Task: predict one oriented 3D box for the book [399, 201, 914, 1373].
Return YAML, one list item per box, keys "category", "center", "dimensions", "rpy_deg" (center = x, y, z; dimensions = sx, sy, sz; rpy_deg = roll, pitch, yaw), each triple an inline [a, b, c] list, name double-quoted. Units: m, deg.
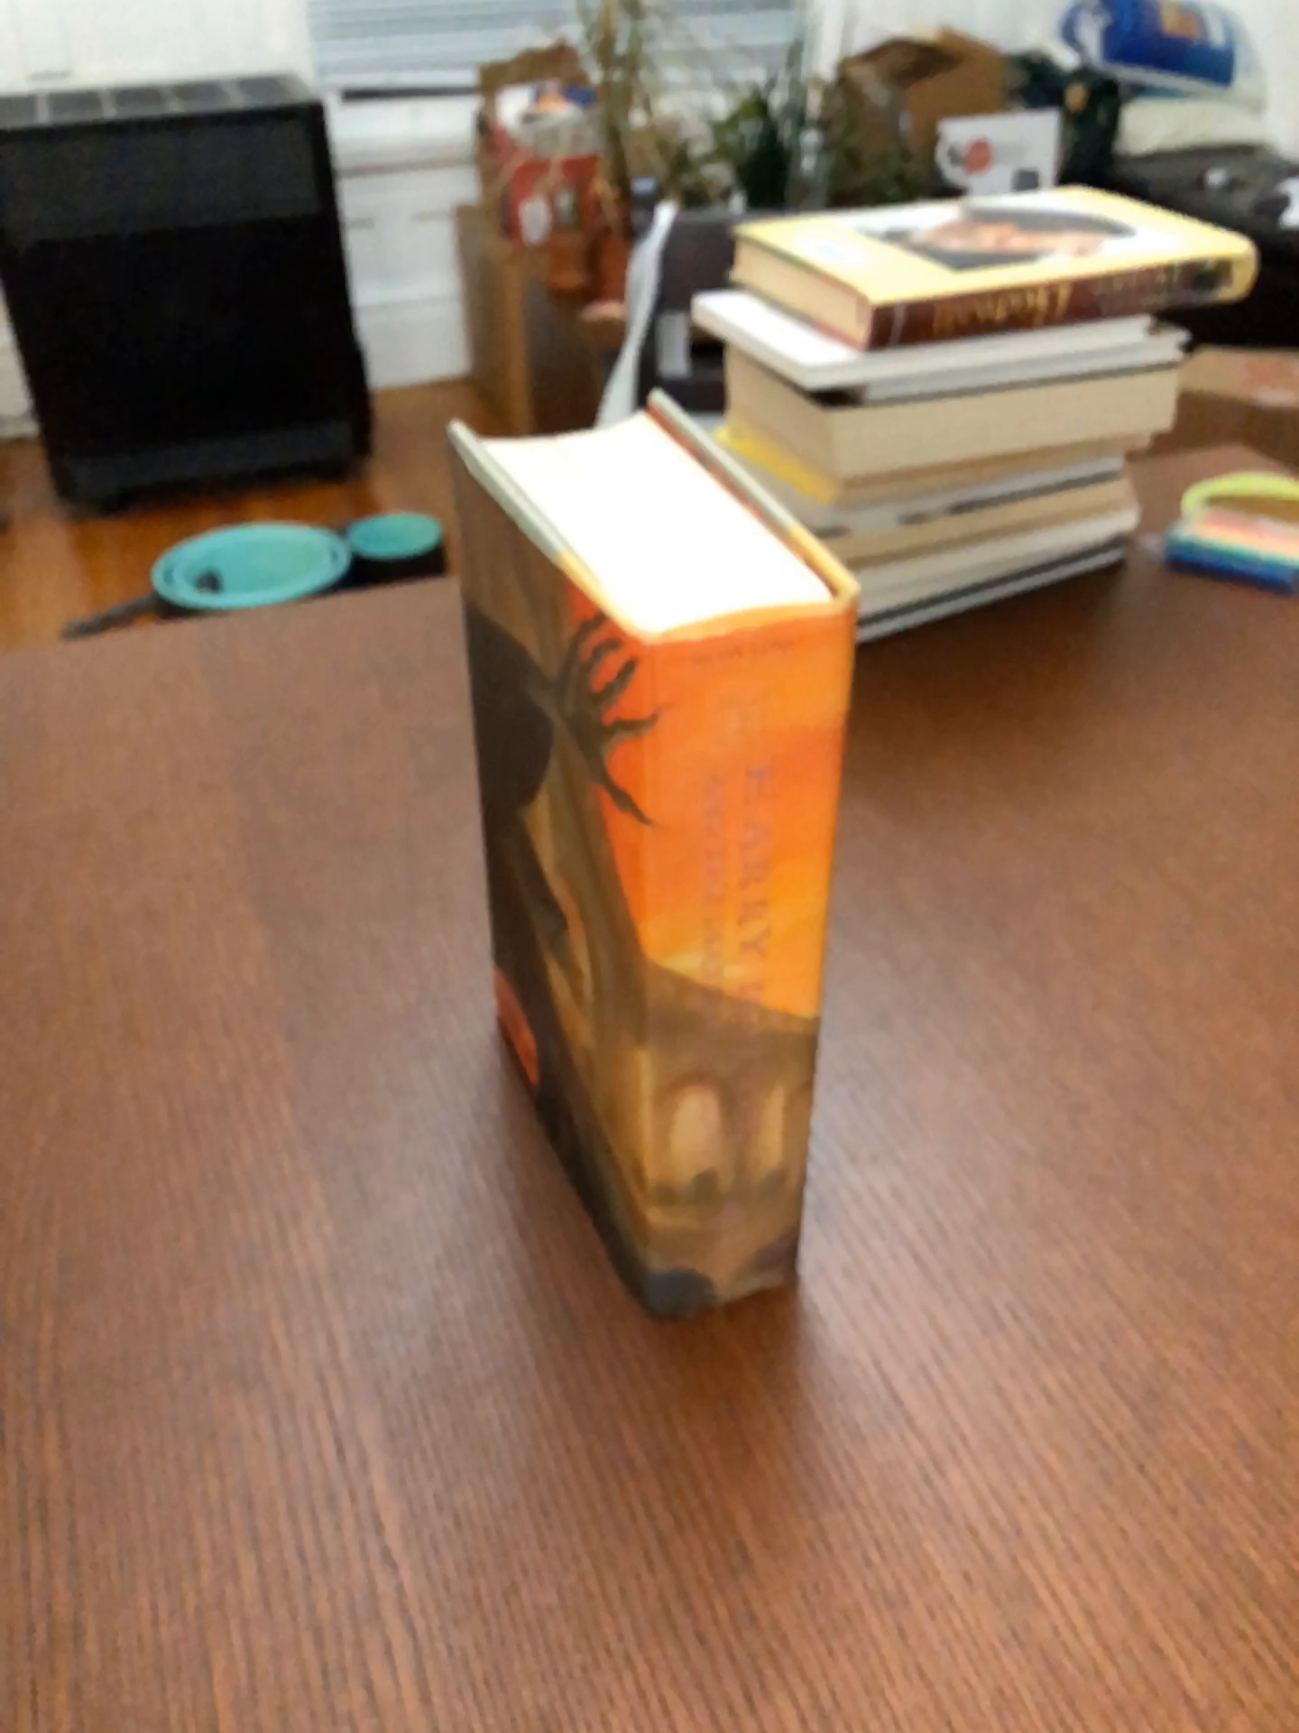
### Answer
- category: "book"
  center: [-0.010, -0.028, 0.462]
  dimensions: [0.070, 0.298, 0.211]
  rpy_deg: [-11, 36, -15]
